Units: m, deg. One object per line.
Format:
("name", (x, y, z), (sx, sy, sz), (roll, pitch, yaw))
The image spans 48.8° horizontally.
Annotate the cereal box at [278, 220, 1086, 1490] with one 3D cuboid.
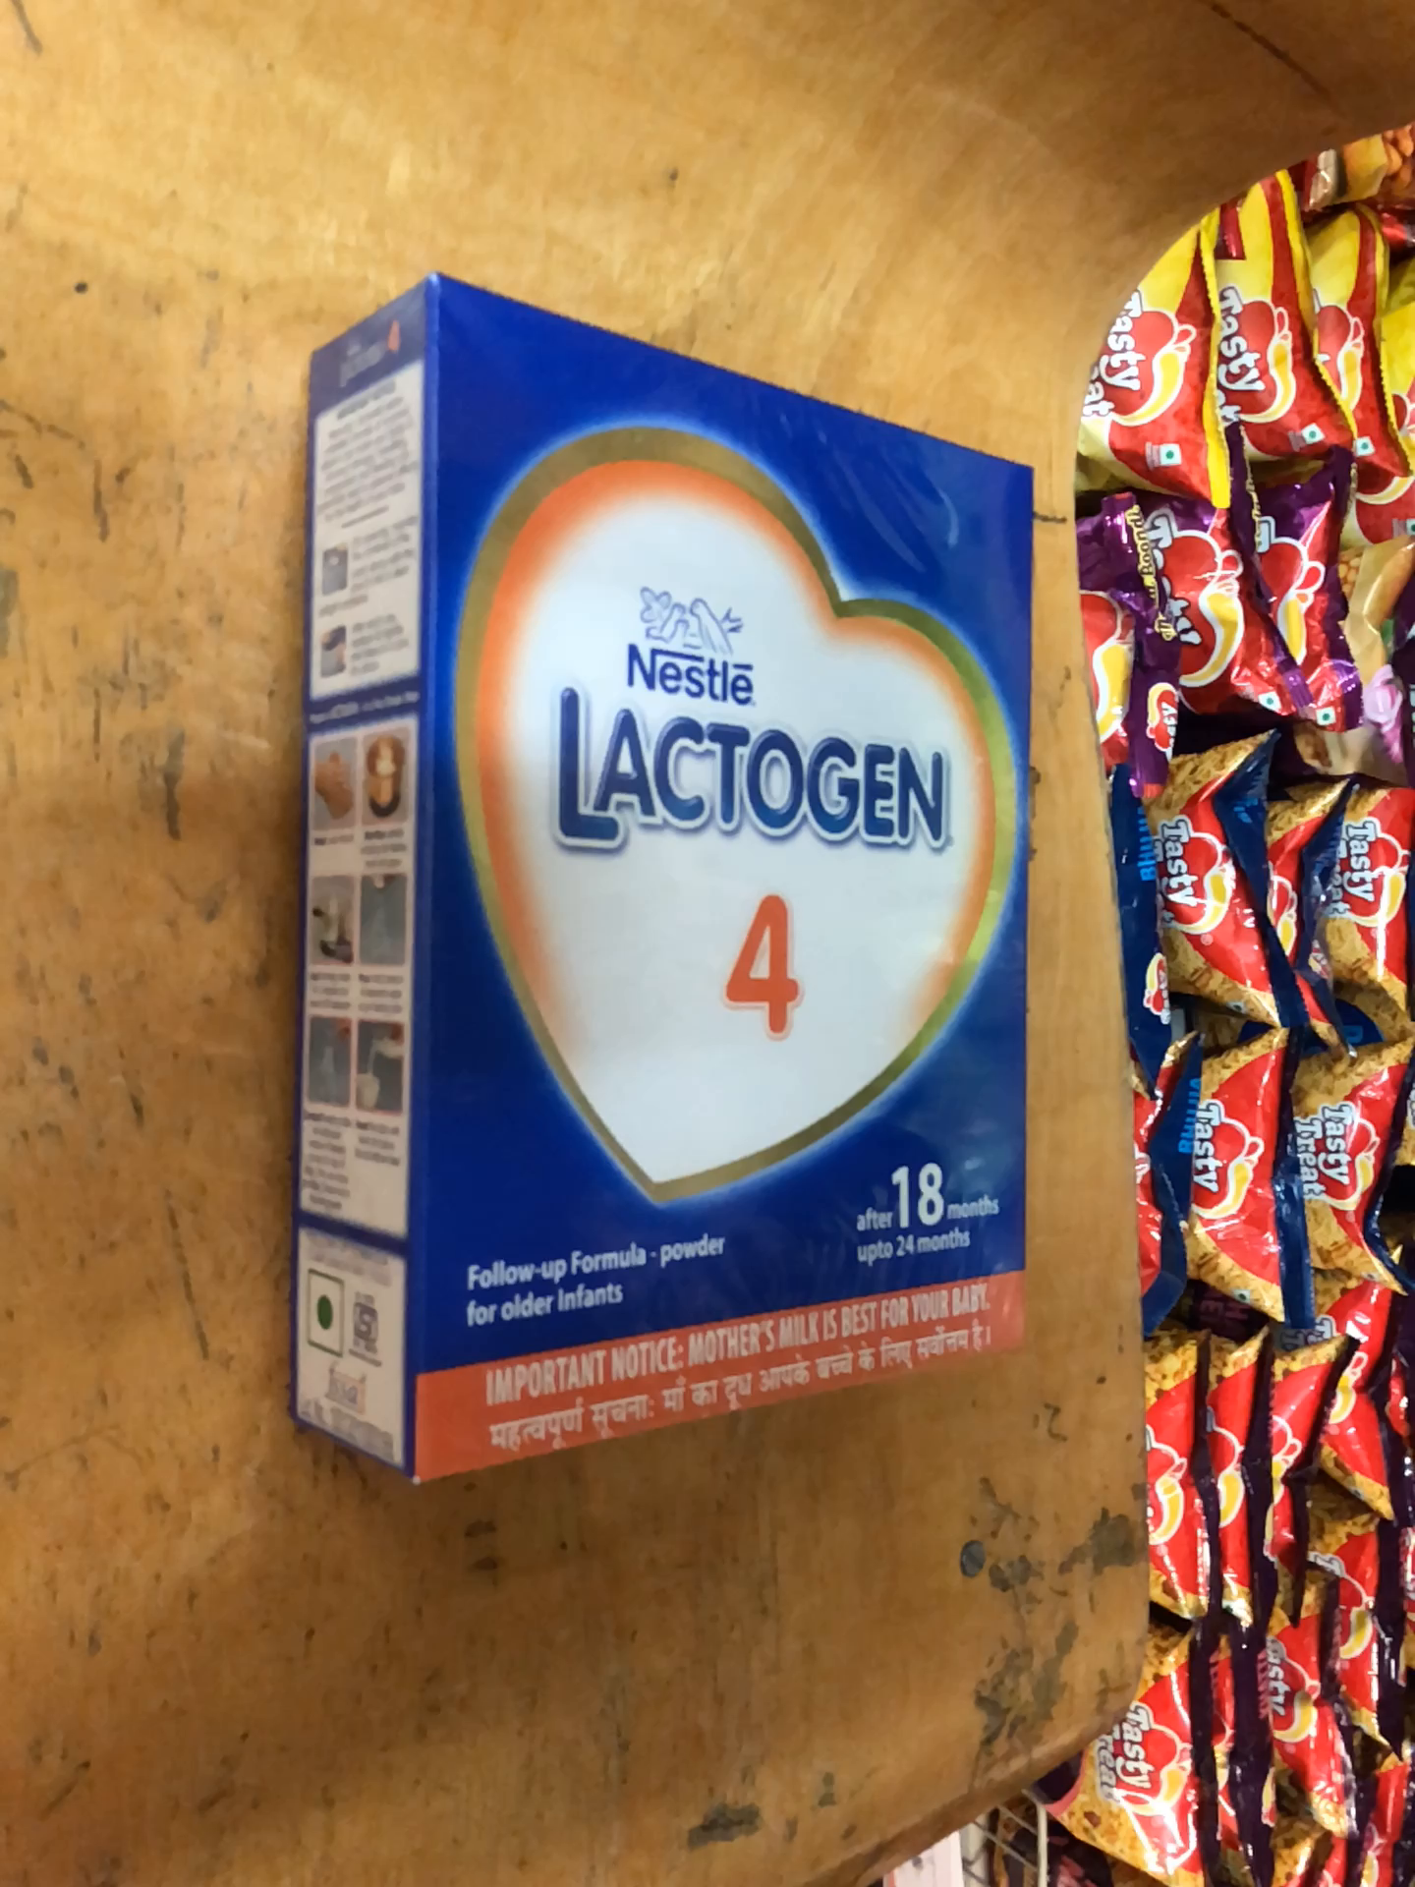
("cereal box", (0.001, -0.013, 0.304), (0.151, 0.060, 0.190), (1, 91, -40))
